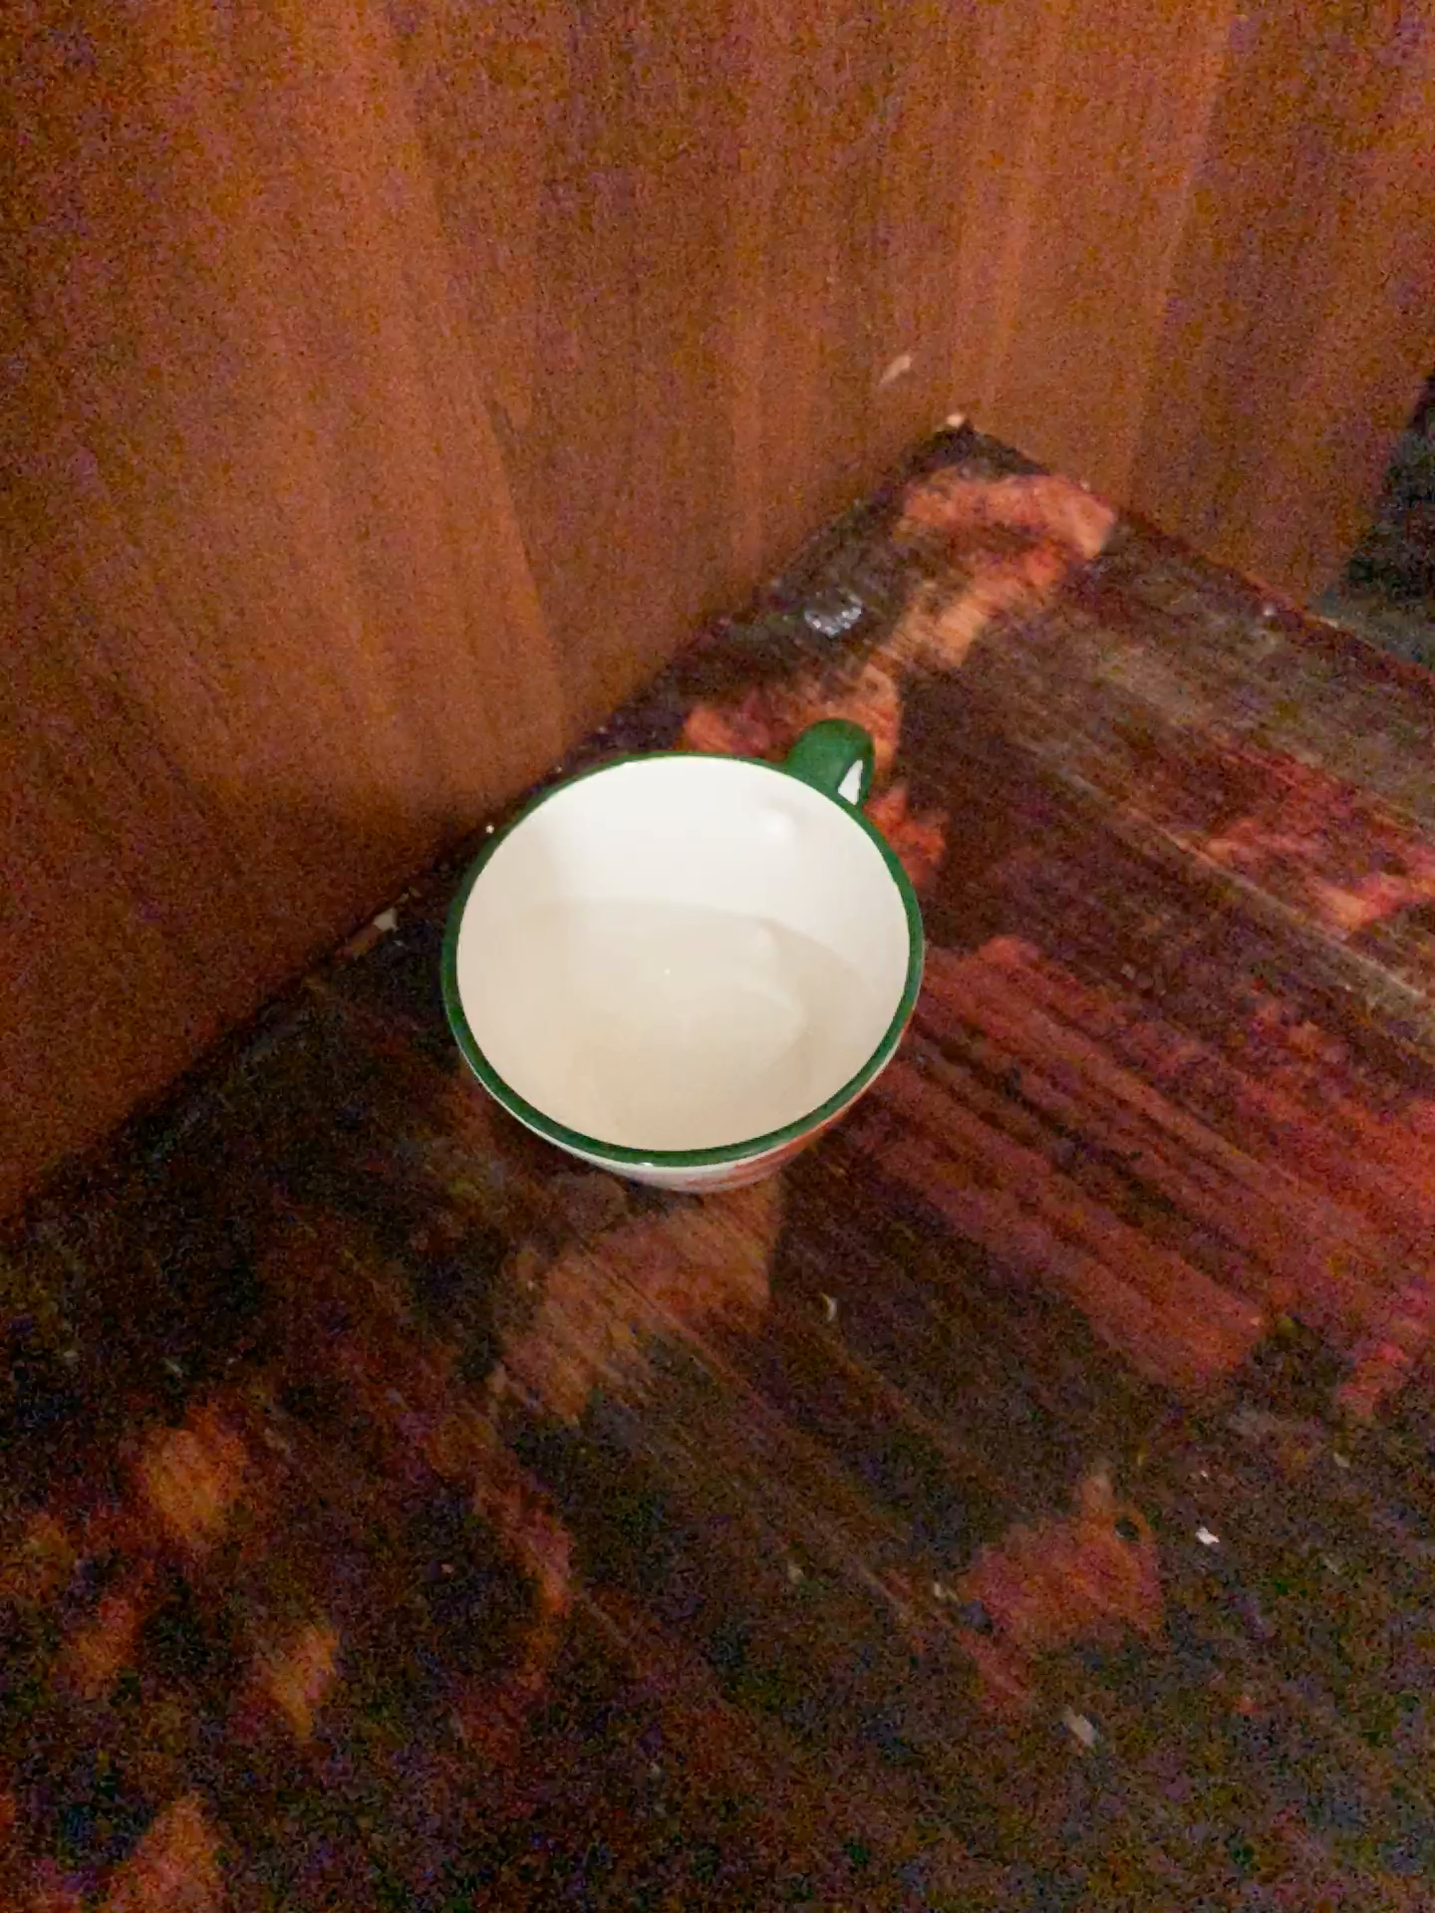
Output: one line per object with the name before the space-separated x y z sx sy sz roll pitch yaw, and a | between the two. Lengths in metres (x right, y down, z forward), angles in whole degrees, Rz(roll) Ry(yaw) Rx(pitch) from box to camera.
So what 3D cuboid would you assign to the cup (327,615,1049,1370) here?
cup | -0.001 0.004 0.248 0.075 0.045 0.095 23 66 16
